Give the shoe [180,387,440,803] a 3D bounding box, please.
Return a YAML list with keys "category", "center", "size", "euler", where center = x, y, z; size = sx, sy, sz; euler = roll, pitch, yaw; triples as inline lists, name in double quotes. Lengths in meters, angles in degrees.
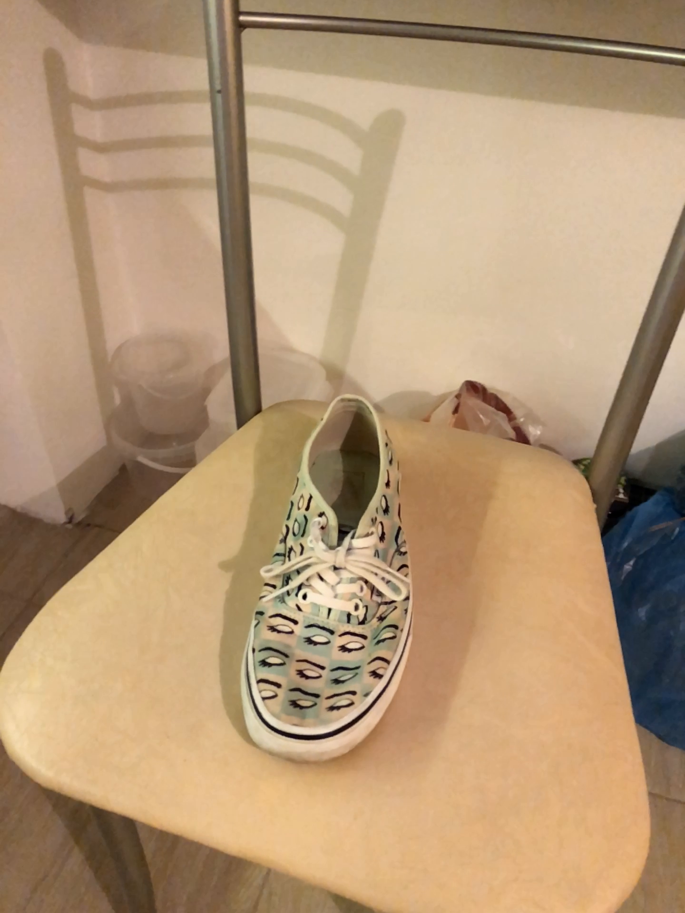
- category: "shoe"
  center: [-0.005, 0.066, 0.477]
  size: [0.110, 0.068, 0.262]
  euler: [7, 42, 6]
